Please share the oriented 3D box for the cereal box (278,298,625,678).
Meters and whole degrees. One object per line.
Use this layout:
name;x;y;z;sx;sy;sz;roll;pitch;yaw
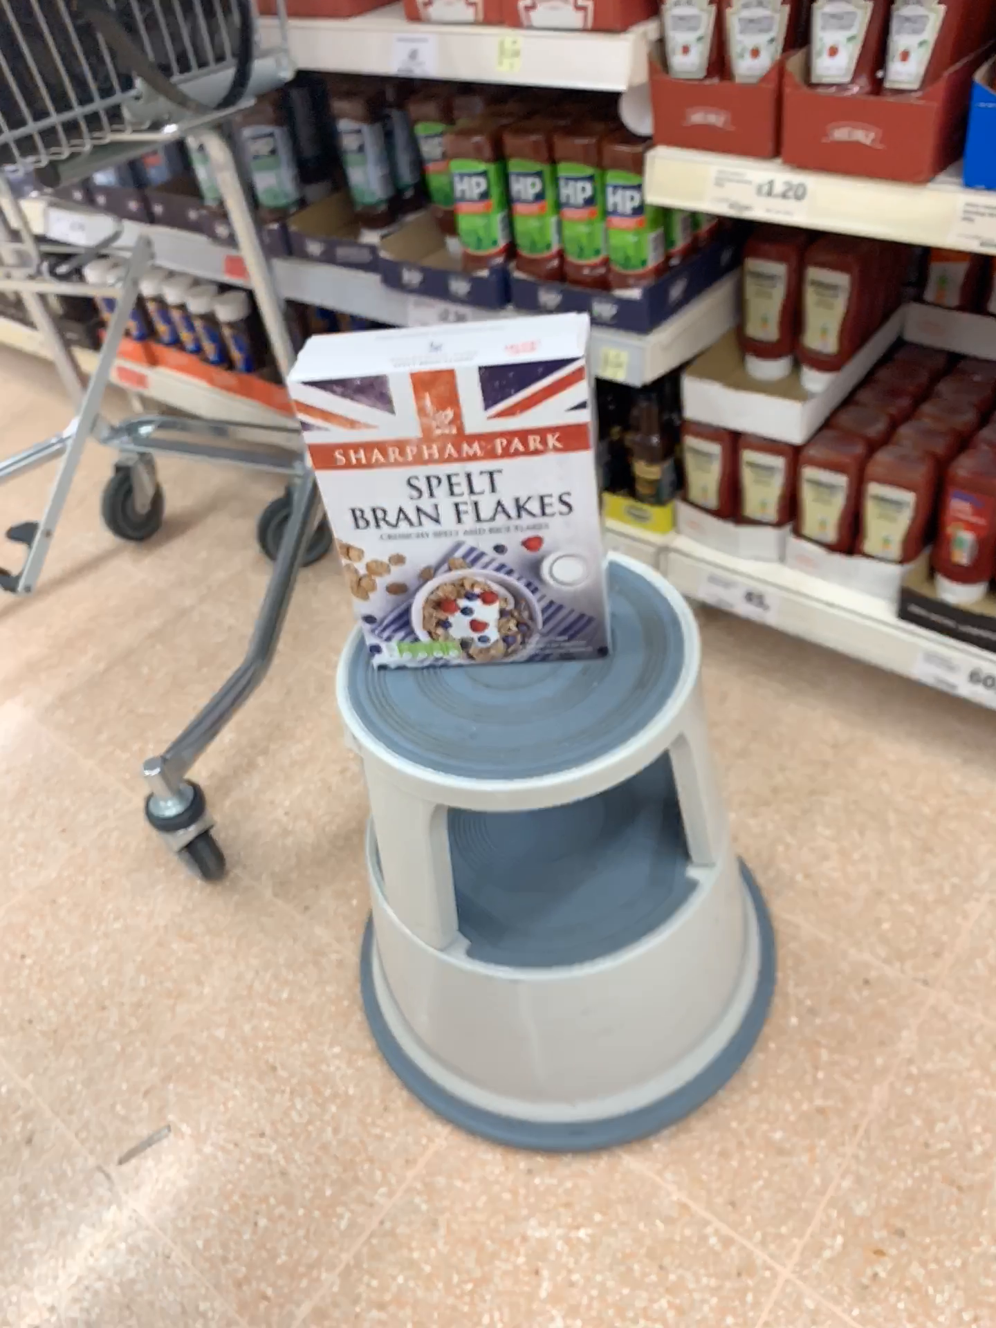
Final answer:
cereal box;-0.017;-0.111;0.734;0.200;0.258;0.071;-2;42;9
